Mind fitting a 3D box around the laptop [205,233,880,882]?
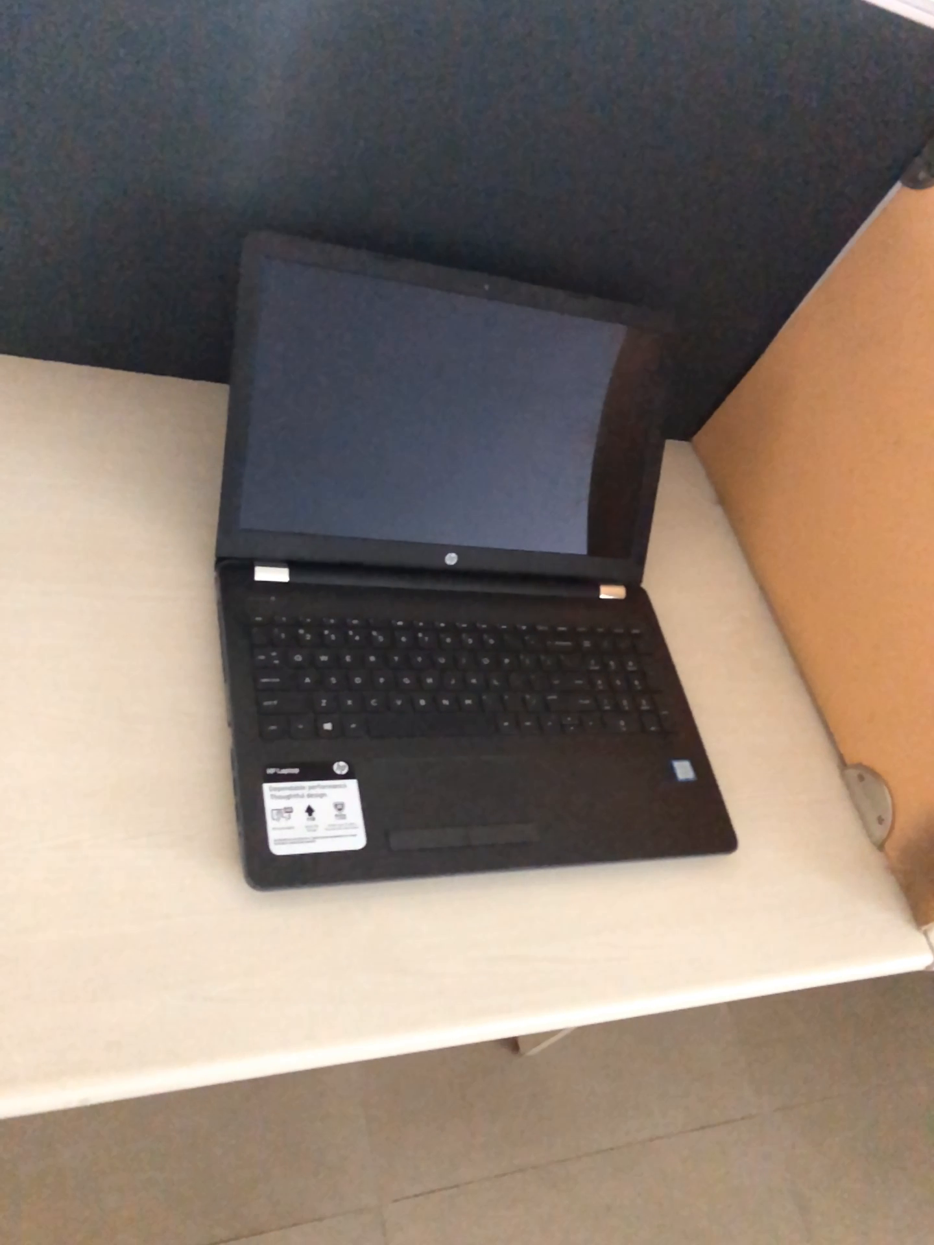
[{"bbox_3d":[0.027,-0.050,0.762,0.378,0.173,0.409,2,55,-26],"label":"laptop"}]
